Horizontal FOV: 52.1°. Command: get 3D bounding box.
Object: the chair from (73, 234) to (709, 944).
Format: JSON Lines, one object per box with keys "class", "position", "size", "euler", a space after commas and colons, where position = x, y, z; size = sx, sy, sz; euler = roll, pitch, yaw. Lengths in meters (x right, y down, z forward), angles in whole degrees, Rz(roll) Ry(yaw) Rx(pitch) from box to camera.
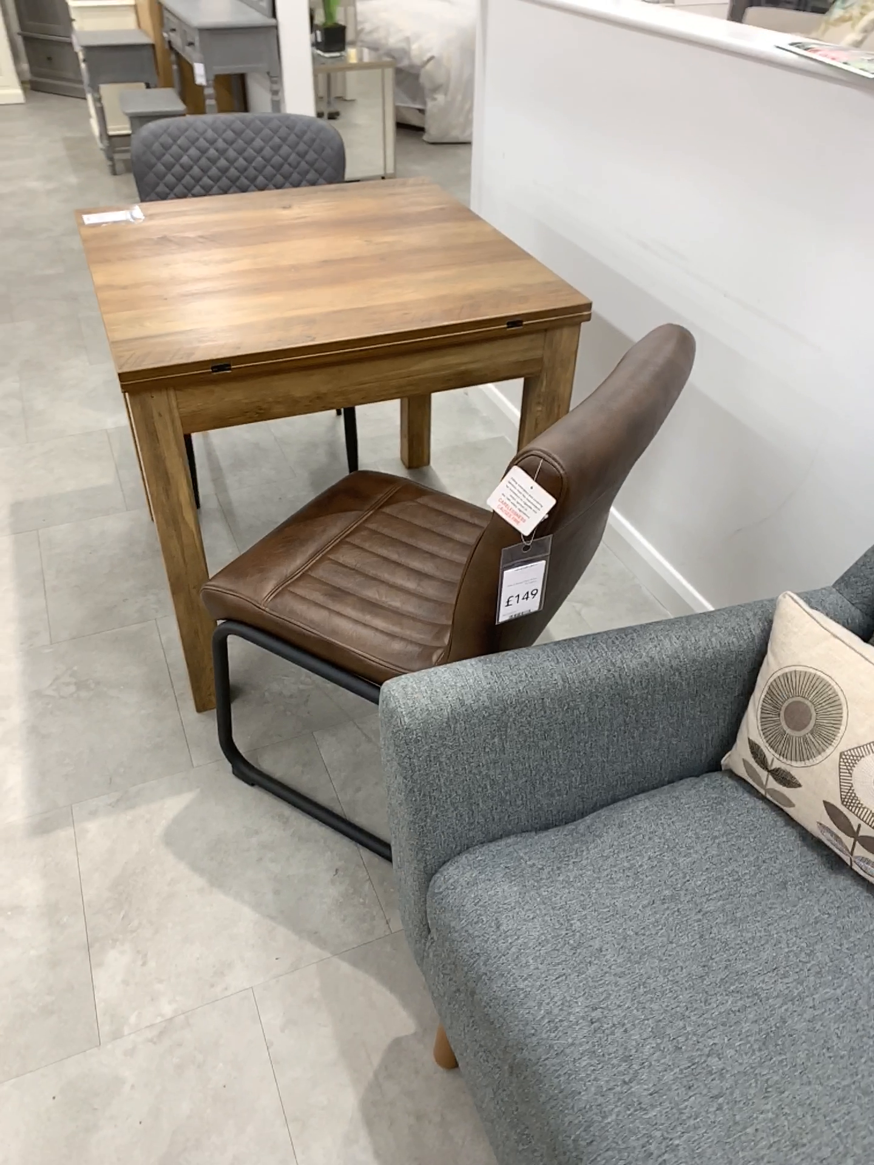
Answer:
{"class": "chair", "position": [-0.051, -0.011, 1.371], "size": [0.634, 0.773, 0.501], "euler": [23, 44, 24]}
